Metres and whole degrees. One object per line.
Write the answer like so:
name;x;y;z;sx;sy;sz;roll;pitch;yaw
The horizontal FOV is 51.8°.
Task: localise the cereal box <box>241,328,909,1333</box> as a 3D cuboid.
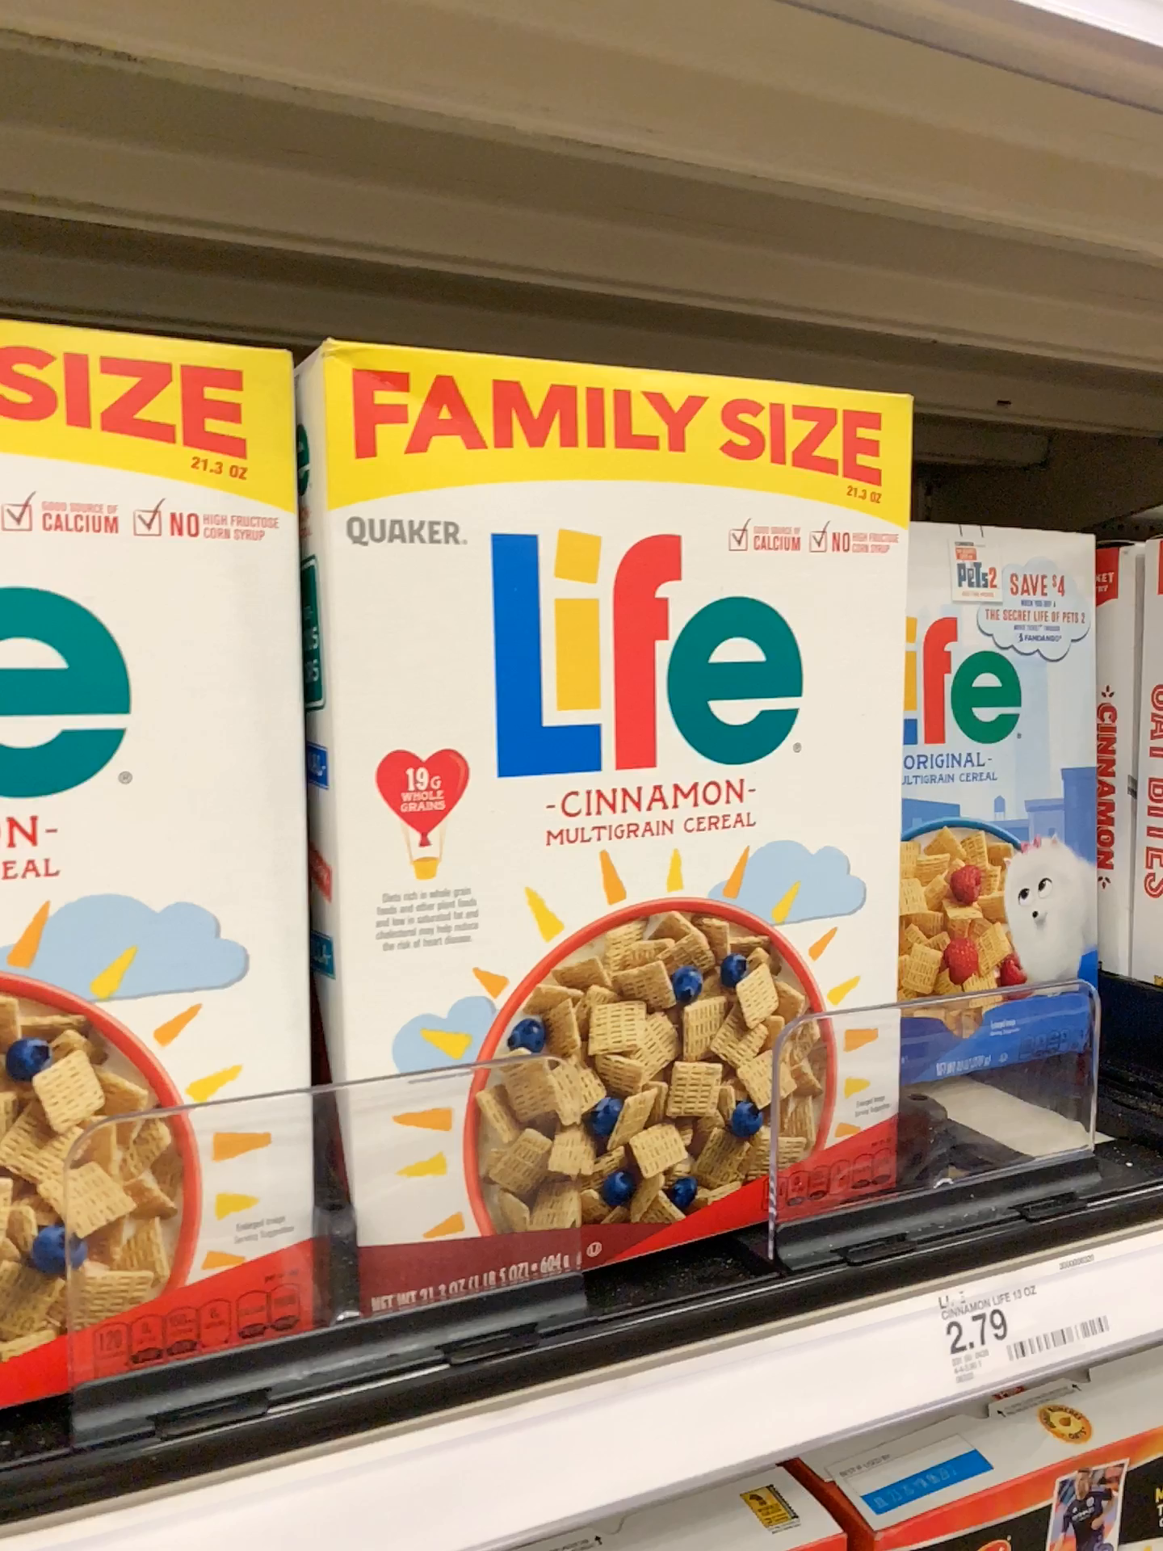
cereal box;0.001;0.011;0.375;0.190;0.260;0.070;-3;6;-22
